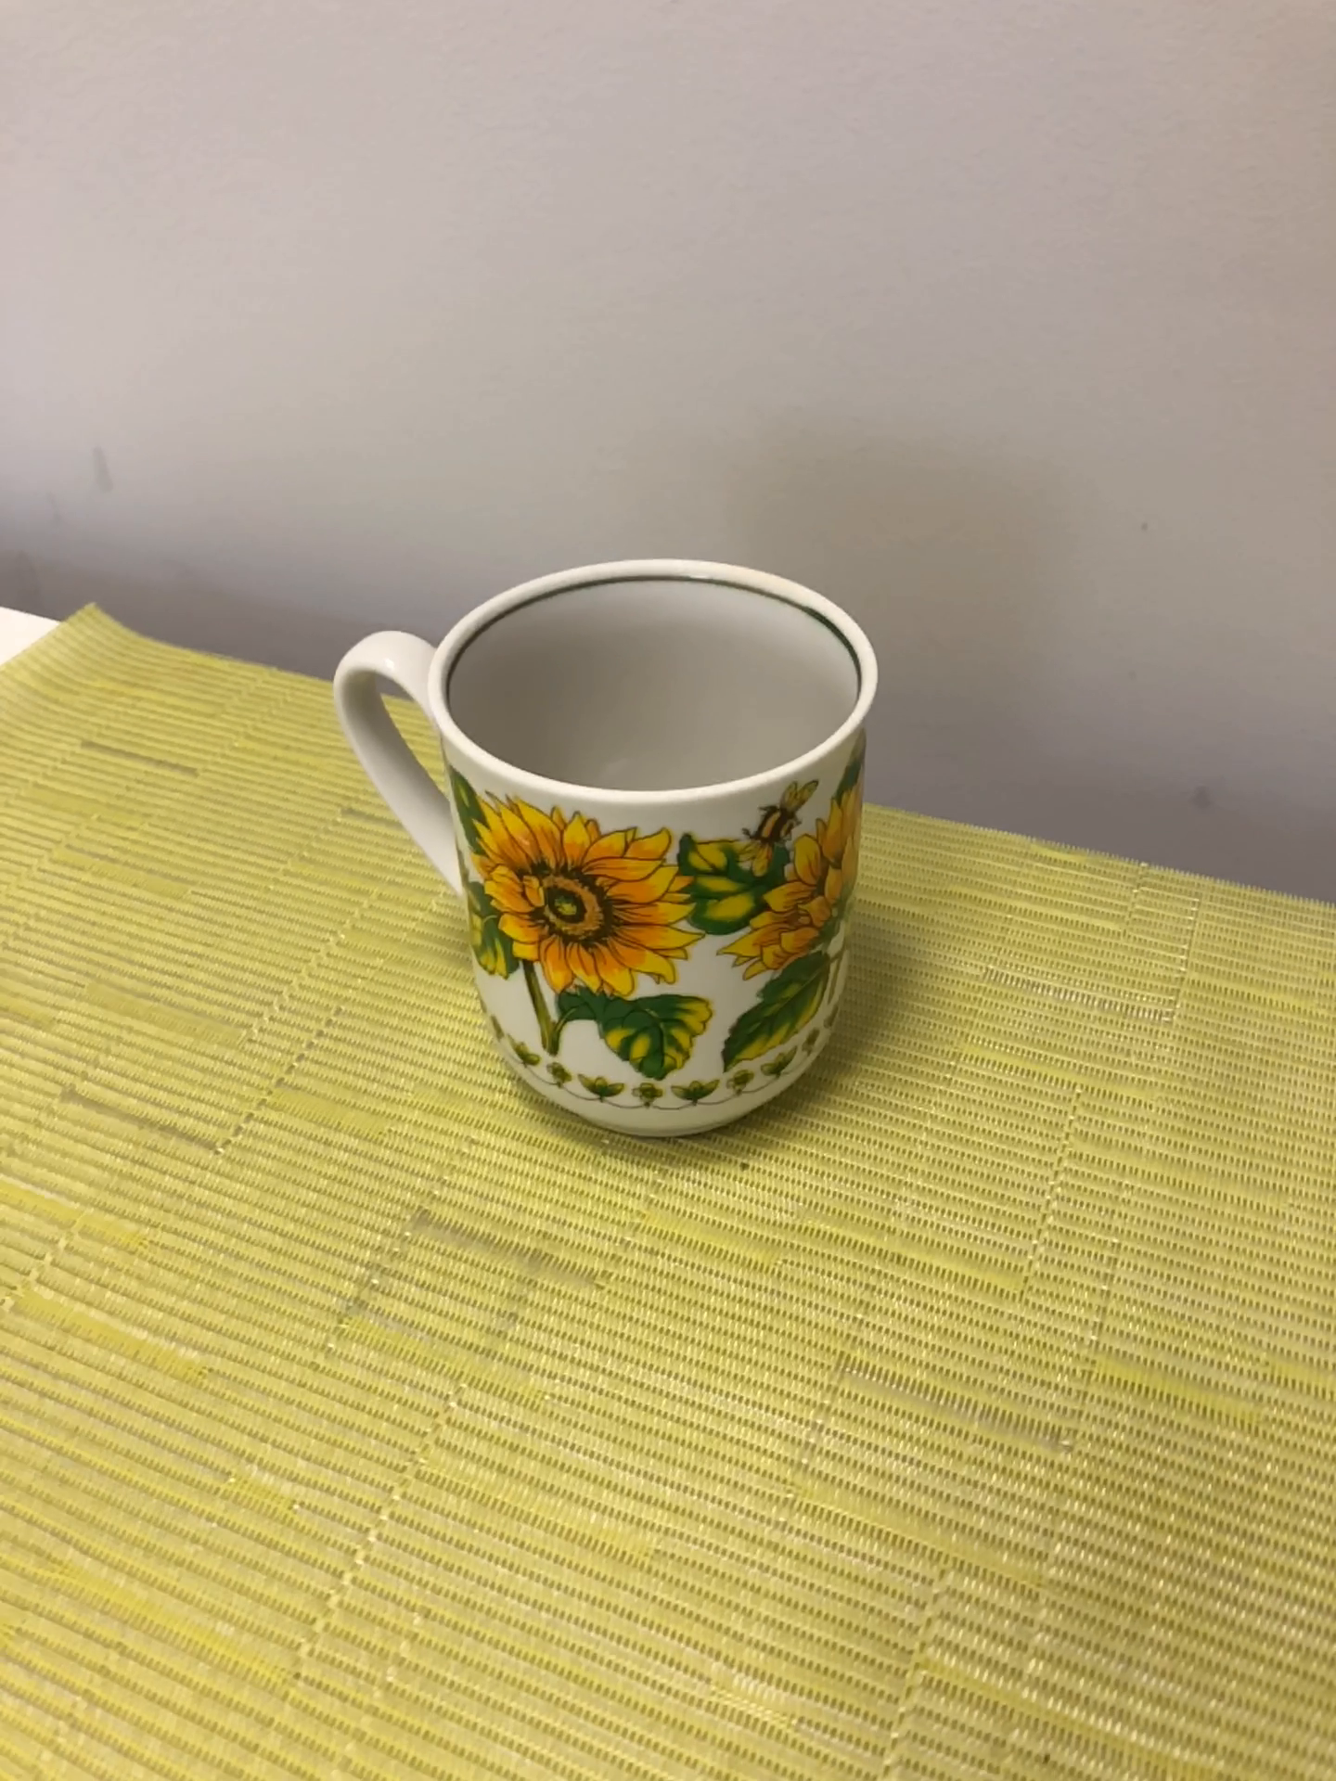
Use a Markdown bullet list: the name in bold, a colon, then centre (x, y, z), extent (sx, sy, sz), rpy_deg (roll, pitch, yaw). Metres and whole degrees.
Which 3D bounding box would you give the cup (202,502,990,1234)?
- **cup**: centre (-0.011, -0.011, 0.298), extent (0.116, 0.084, 0.088), rpy_deg (18, 41, 22)
